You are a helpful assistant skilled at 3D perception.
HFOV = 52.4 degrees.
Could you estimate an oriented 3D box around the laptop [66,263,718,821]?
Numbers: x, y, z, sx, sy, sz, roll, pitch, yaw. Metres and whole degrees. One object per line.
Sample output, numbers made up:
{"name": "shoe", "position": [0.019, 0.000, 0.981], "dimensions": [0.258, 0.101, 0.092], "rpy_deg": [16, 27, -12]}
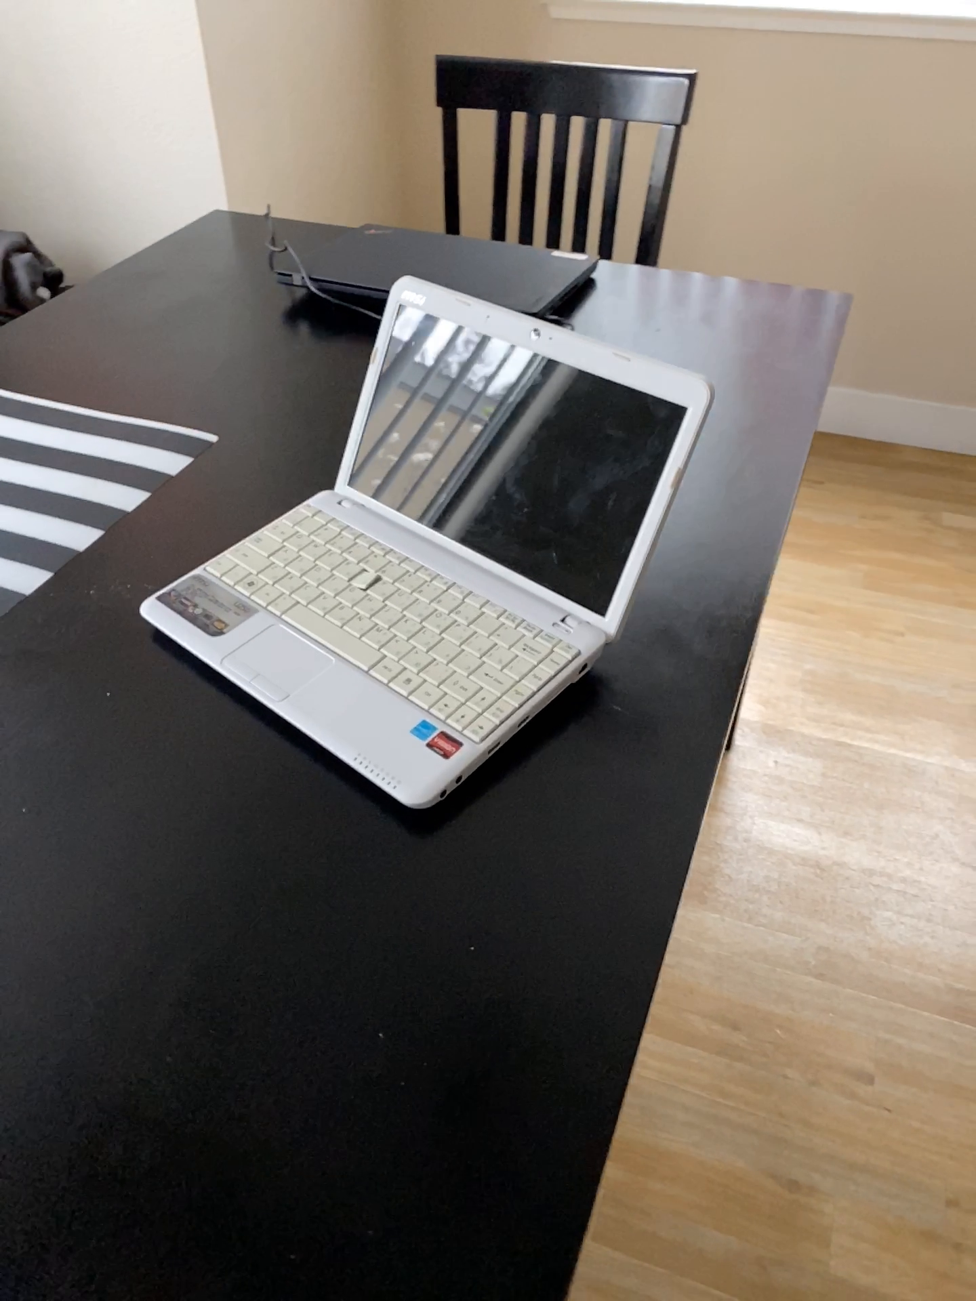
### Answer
{"name": "laptop", "position": [-0.060, -0.104, 0.687], "dimensions": [0.295, 0.153, 0.301], "rpy_deg": [30, 52, 30]}
